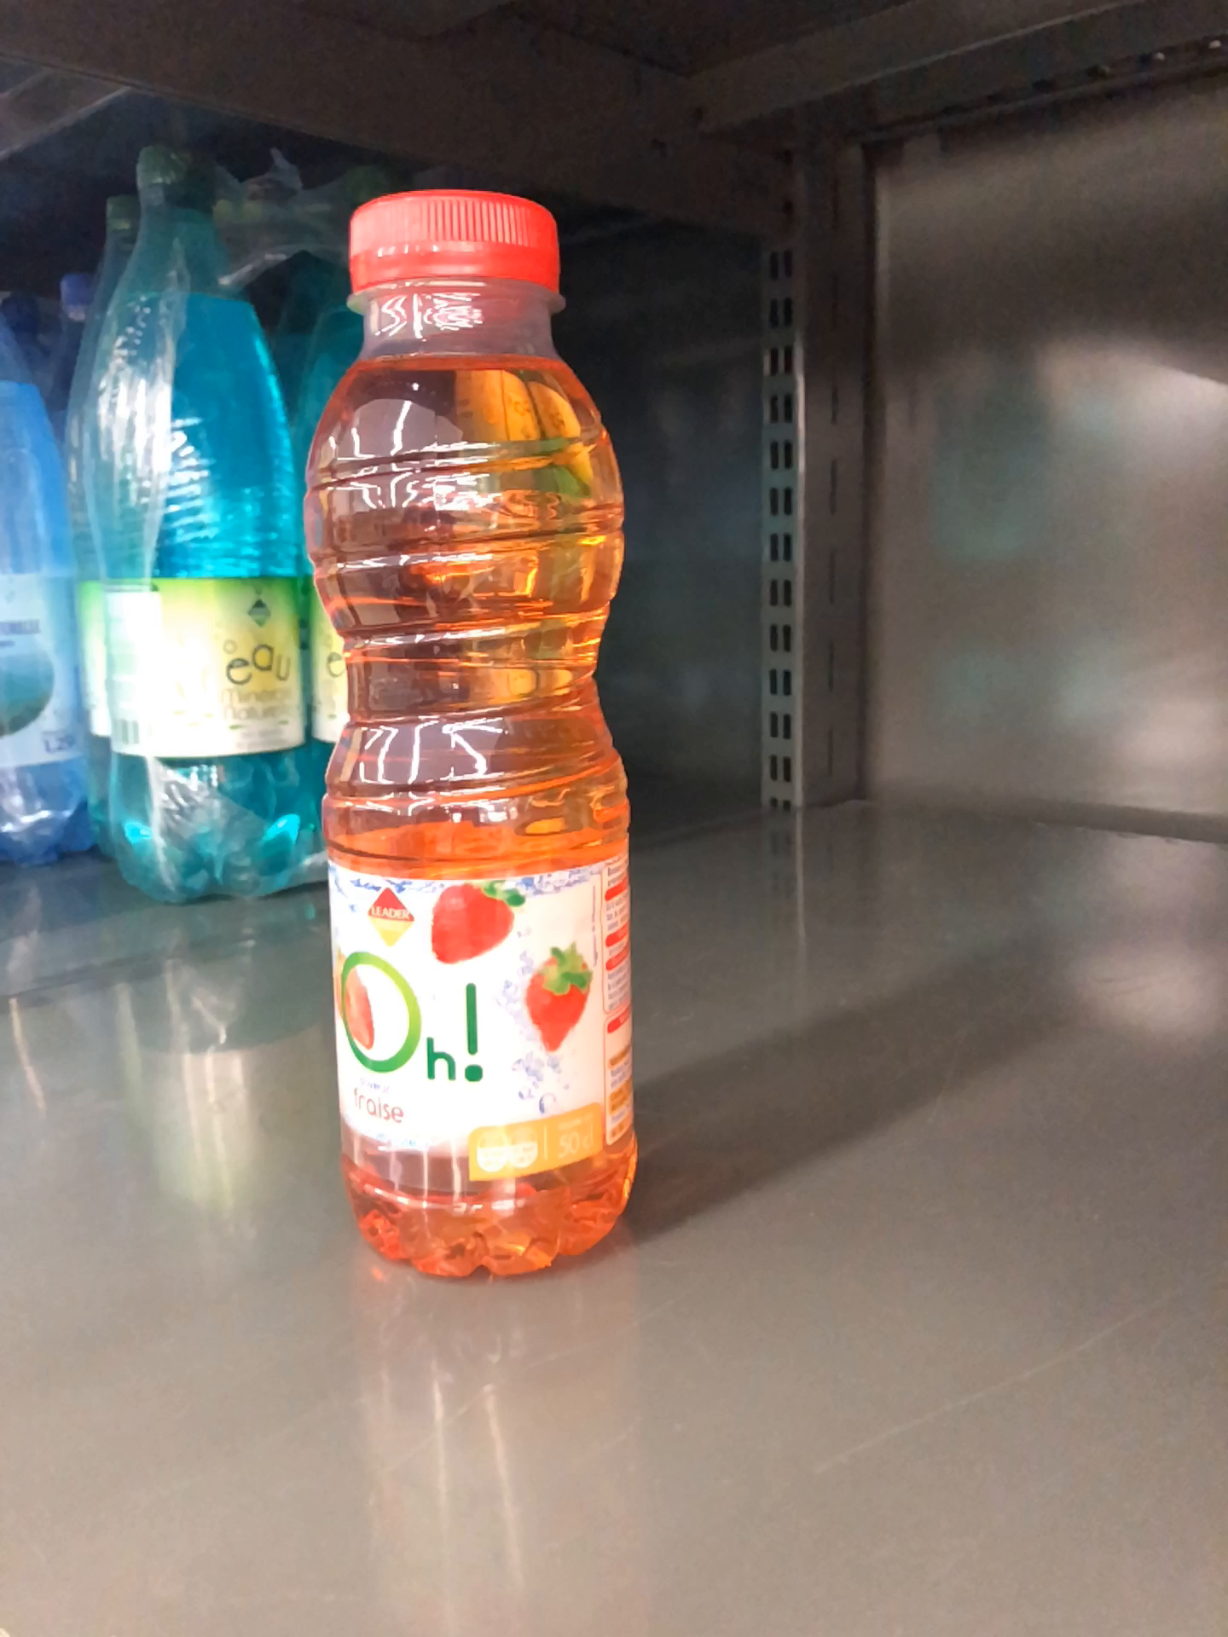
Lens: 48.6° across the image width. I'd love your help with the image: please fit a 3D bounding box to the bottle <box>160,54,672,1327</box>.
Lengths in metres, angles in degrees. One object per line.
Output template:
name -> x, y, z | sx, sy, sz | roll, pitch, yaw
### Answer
bottle -> -0.036, -0.021, 0.269 | 0.070, 0.209, 0.060 | 7, 13, 41
